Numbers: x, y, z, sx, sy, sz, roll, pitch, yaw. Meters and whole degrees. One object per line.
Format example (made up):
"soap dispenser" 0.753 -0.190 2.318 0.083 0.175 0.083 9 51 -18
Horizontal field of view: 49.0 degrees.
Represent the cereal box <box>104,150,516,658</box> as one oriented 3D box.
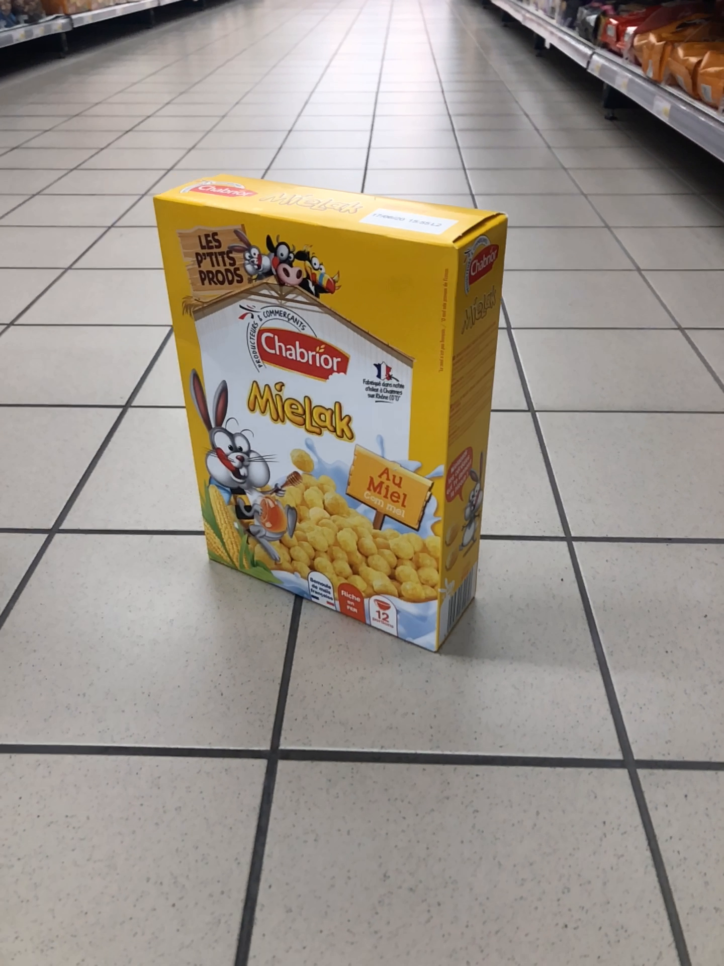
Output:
"cereal box" -0.031 -0.048 0.482 0.210 0.258 0.070 18 37 26
